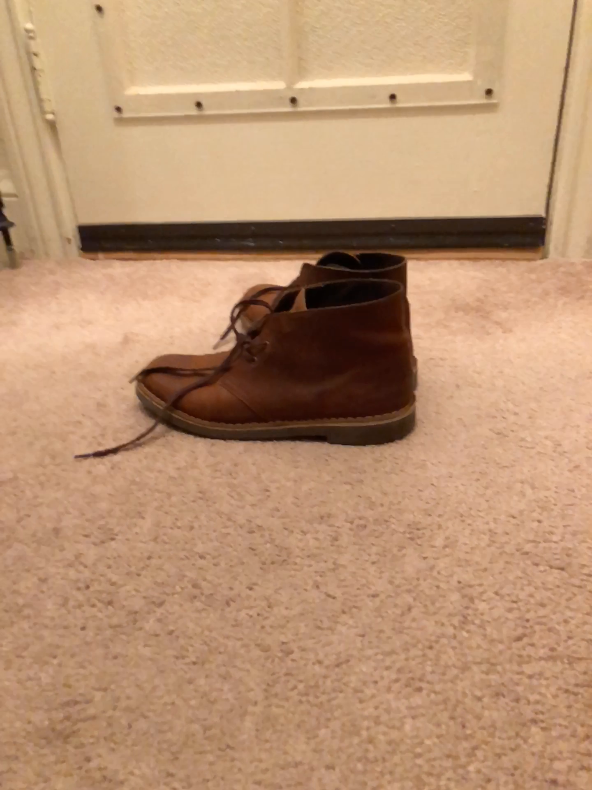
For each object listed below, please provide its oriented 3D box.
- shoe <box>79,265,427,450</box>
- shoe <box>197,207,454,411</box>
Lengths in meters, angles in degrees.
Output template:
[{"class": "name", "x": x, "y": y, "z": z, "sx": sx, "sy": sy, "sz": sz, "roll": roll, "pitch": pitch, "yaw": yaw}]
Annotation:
[{"class": "shoe", "x": -0.031, "y": -0.041, "z": 0.632, "sx": 0.303, "sy": 0.138, "sz": 0.111, "roll": 2, "pitch": 30, "yaw": 9}, {"class": "shoe", "x": 0.022, "y": -0.116, "z": 0.757, "sx": 0.110, "sy": 0.138, "sz": 0.304, "roll": -25, "pitch": 36, "yaw": -33}]
